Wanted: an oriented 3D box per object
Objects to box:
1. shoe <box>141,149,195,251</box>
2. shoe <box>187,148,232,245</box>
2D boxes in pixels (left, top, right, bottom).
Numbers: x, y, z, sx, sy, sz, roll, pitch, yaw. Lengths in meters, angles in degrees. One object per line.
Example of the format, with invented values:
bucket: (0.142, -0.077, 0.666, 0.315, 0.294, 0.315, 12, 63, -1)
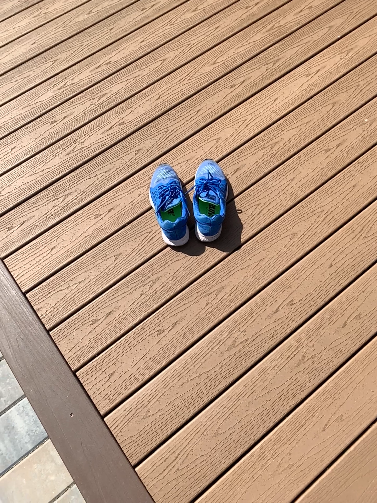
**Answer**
shoe: (-0.066, -0.165, 1.226, 0.120, 0.103, 0.298, -10, 66, -1)
shoe: (0.070, -0.178, 1.228, 0.120, 0.106, 0.290, 3, 66, 5)
